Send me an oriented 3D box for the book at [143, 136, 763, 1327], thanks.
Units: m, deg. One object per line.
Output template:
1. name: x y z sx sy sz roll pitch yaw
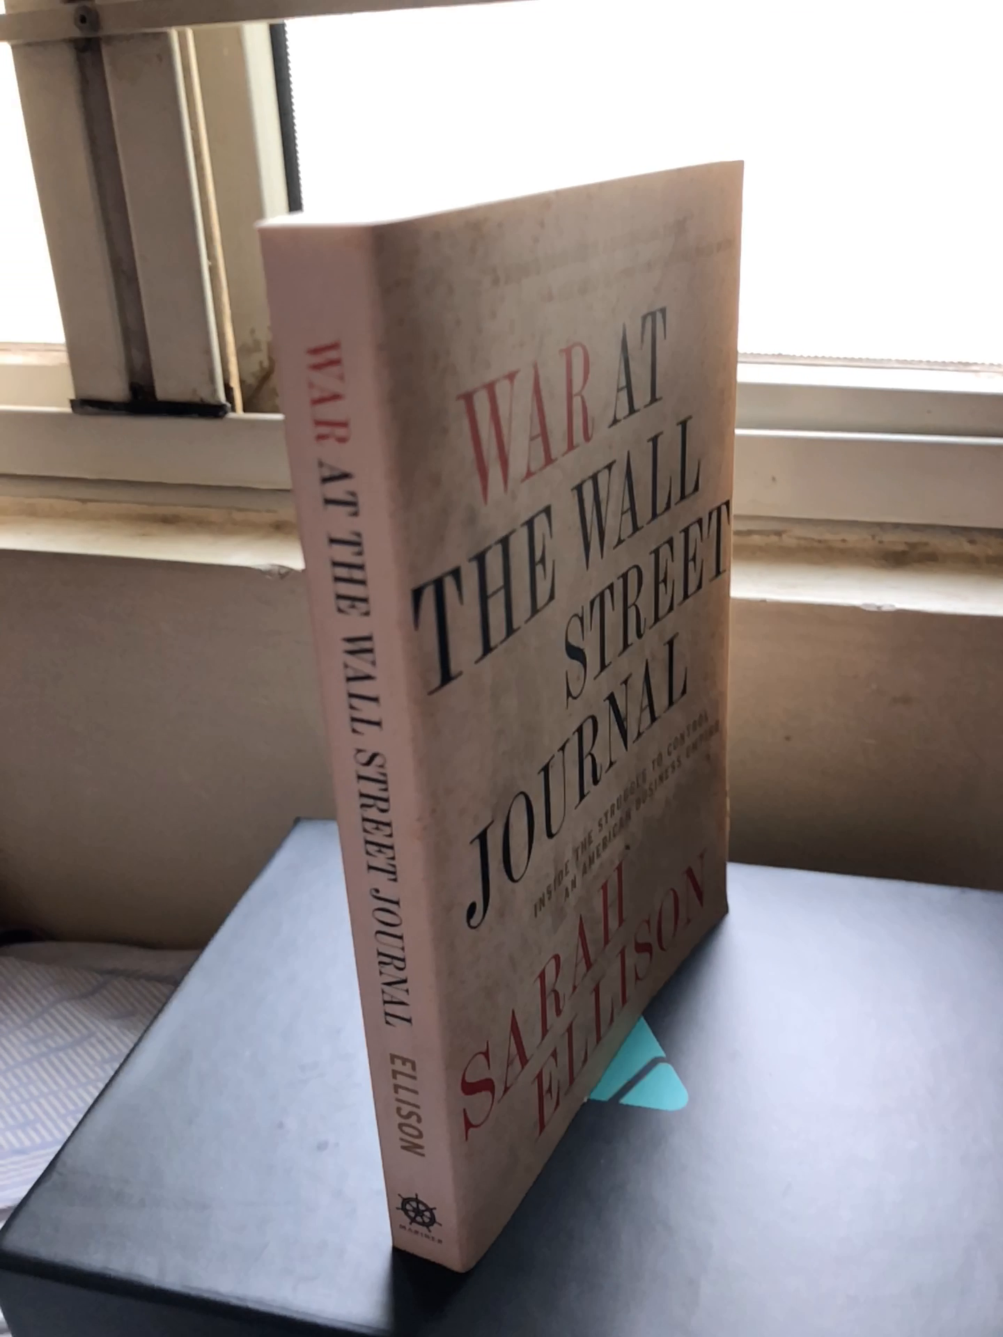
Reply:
1. book: 0.010 0.001 0.234 0.030 0.199 0.151 11 28 29
